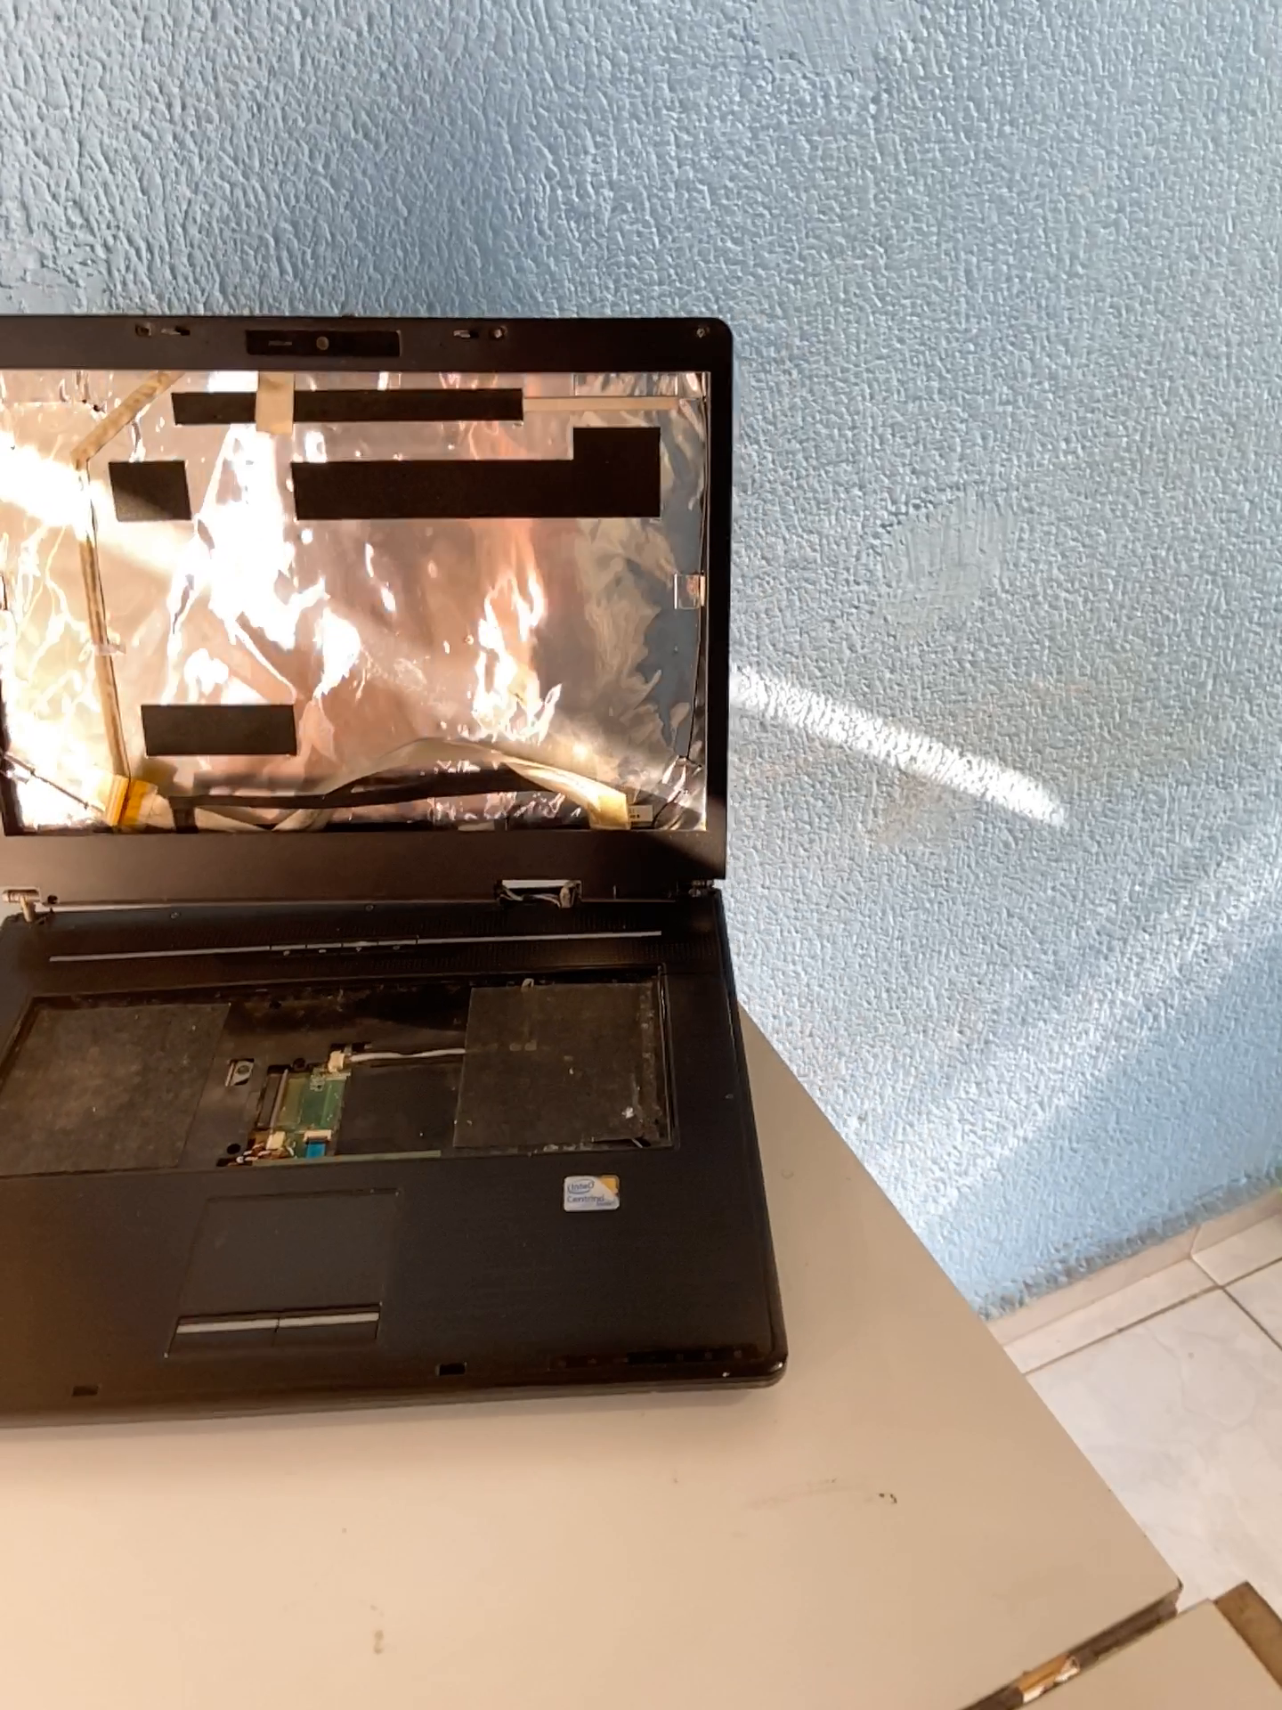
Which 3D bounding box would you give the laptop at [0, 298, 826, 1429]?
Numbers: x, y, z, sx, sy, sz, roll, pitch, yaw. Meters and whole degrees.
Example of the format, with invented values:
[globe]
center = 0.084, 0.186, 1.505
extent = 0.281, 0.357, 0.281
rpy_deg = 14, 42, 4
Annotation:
[laptop]
center = -0.133, -0.028, 0.511
extent = 0.352, 0.261, 0.352
rpy_deg = -2, 35, 0
